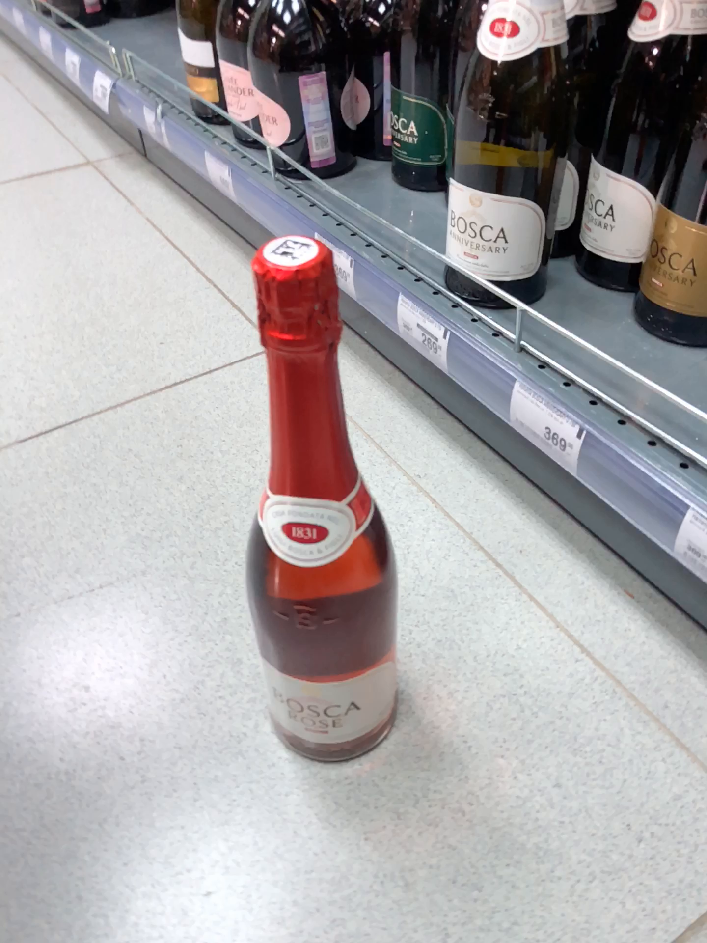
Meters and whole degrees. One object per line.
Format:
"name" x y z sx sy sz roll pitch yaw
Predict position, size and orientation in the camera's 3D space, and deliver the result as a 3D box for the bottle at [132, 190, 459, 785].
"bottle" -0.012 0.031 0.408 0.100 0.317 0.100 -2 42 1
